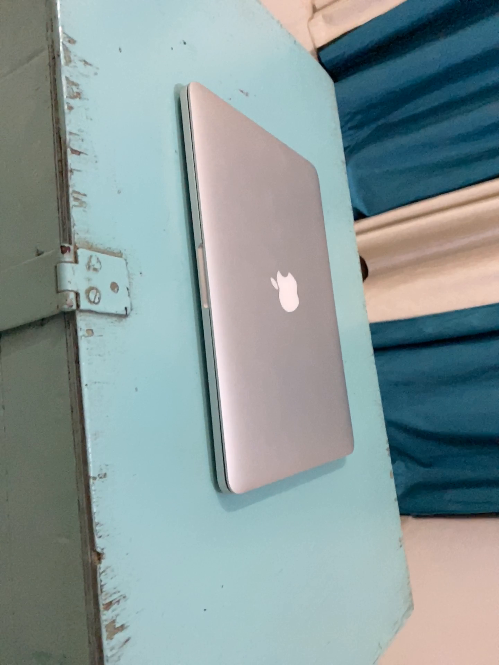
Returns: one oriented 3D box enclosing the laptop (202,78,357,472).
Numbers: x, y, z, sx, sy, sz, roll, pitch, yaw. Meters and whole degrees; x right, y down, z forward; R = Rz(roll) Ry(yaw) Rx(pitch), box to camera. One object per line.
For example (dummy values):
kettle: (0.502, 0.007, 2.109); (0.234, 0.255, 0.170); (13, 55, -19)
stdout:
laptop: (0.038, -0.041, 0.459); (0.210, 0.007, 0.291); (5, 78, -58)
